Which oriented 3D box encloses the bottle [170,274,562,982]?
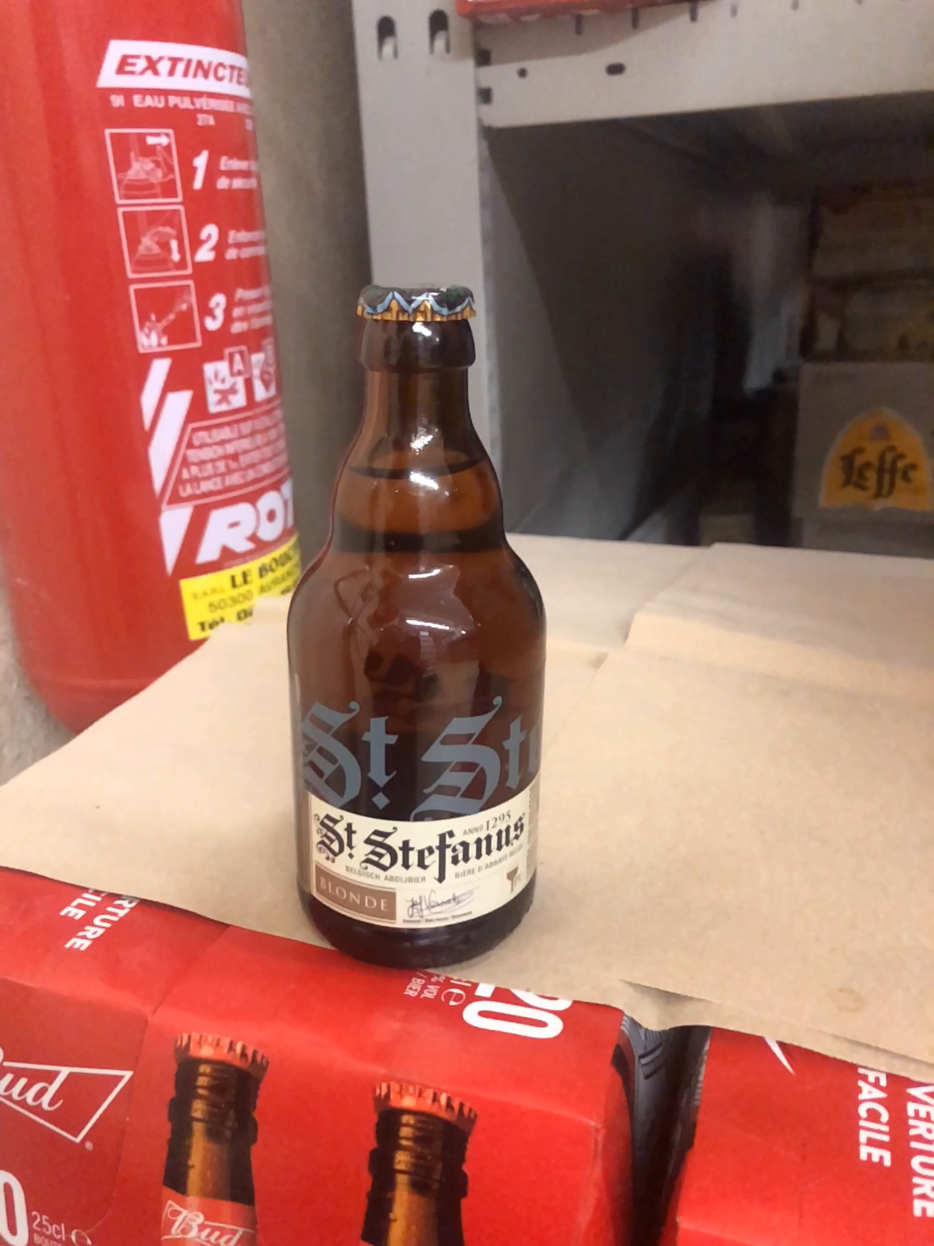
[{"bbox_3d":[-0.019,-0.003,0.278,0.080,0.169,0.080,-2,19,1],"label":"bottle"}]
